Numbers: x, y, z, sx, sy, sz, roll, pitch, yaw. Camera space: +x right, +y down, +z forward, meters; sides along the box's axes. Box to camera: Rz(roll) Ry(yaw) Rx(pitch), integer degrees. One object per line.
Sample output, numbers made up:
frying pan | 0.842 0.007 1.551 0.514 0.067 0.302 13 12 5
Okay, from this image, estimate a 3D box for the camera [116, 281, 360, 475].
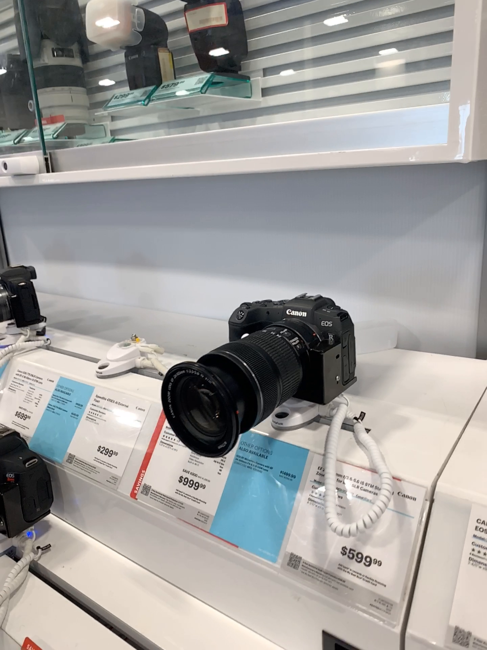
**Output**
camera | 0.006 0.032 0.485 0.132 0.100 0.199 9 21 39
